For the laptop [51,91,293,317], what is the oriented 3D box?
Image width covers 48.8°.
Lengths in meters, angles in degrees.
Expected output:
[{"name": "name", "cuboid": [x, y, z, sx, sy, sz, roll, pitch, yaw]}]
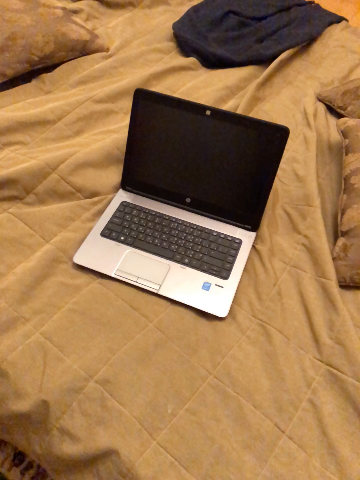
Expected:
[{"name": "laptop", "cuboid": [0.001, -0.086, 0.797, 0.332, 0.189, 0.340, 18, 57, 12]}]
